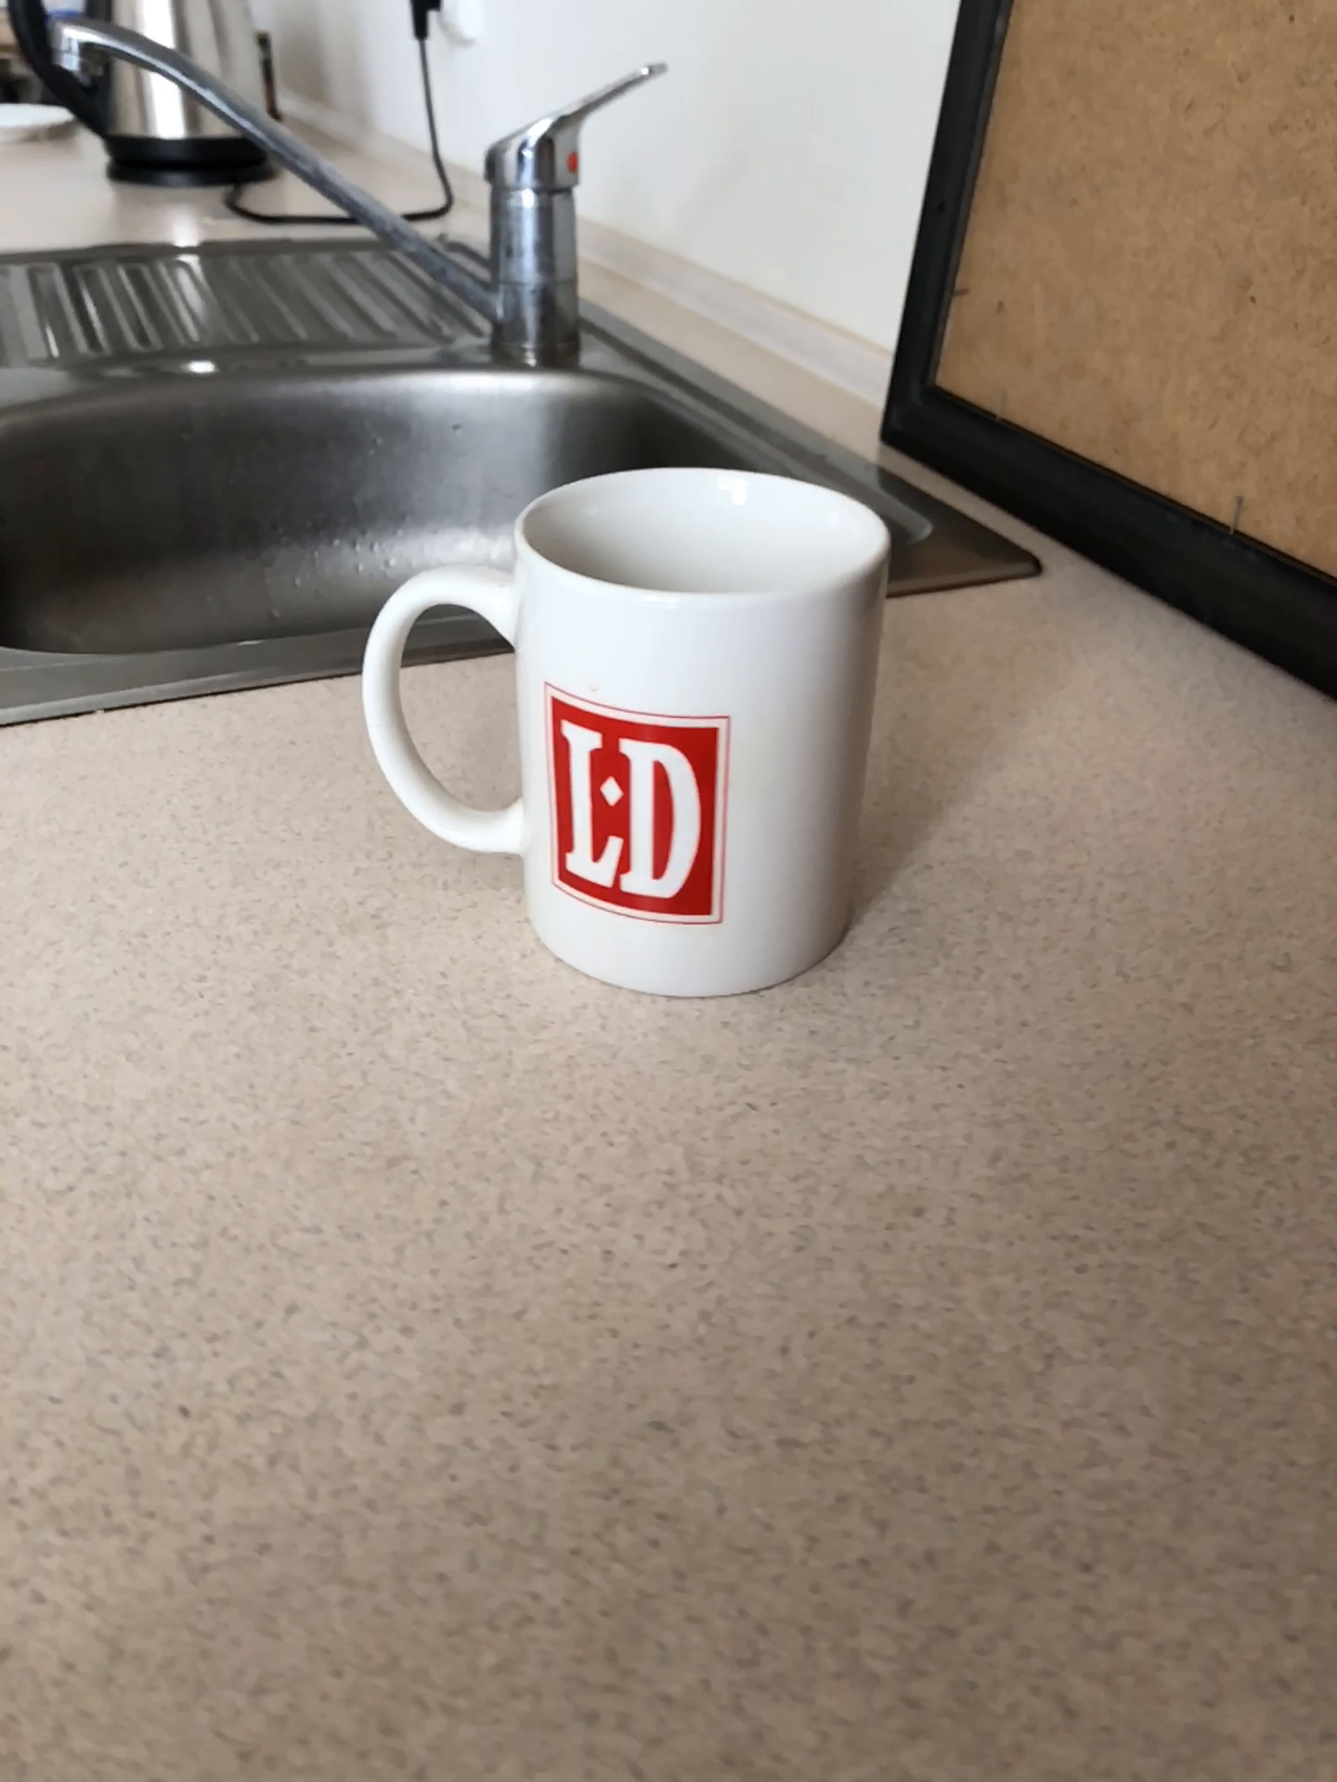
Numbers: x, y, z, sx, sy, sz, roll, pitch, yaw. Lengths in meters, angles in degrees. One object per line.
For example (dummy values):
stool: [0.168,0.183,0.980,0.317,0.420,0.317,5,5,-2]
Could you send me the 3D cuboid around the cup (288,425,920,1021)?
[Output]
cup: [-0.009,-0.043,0.343,0.120,0.099,0.085,7,33,8]
